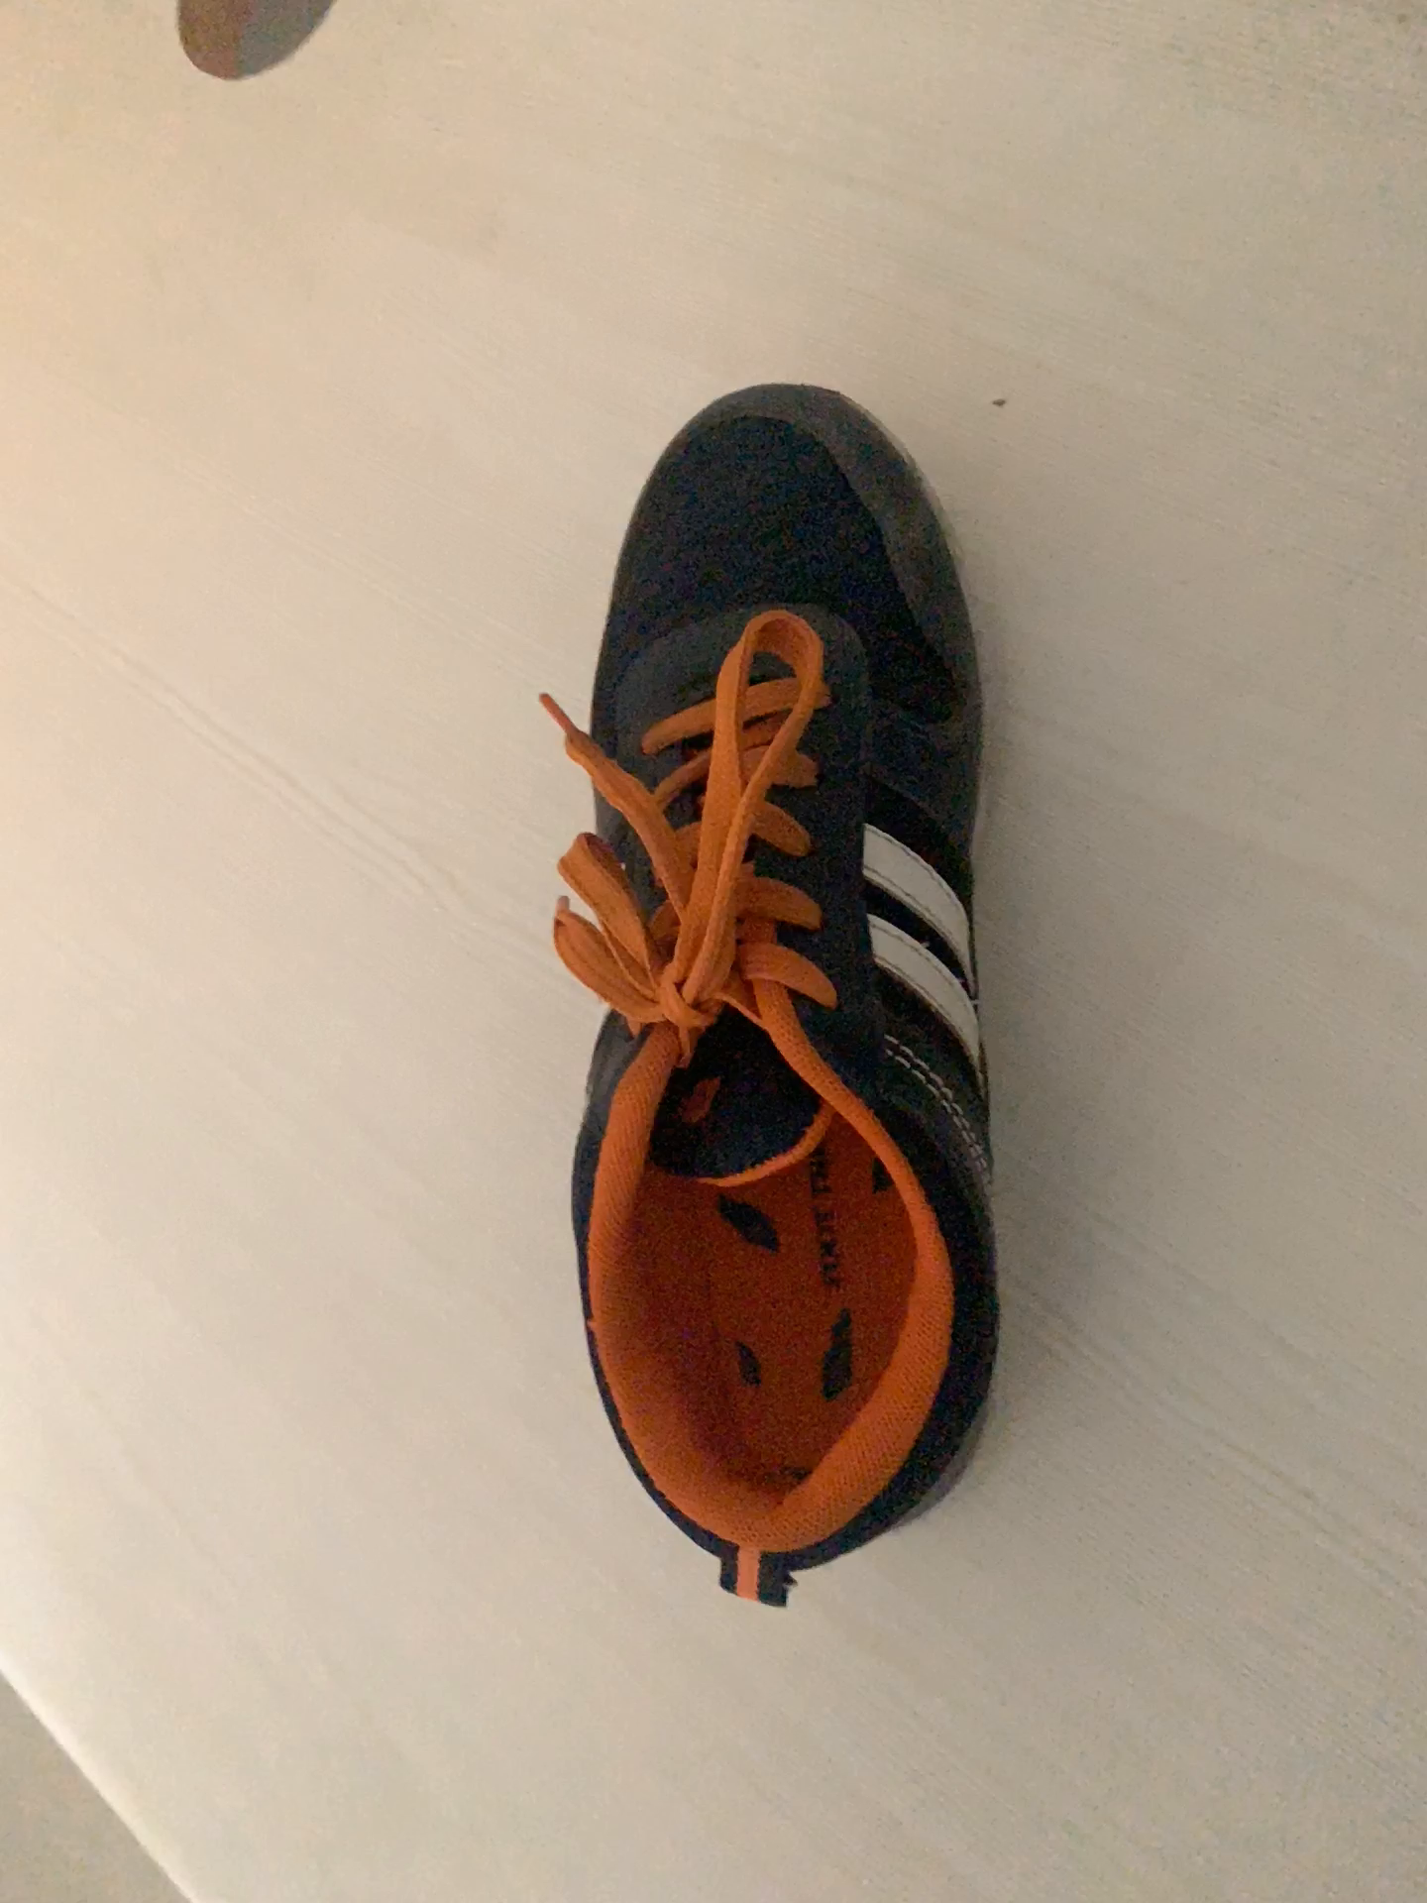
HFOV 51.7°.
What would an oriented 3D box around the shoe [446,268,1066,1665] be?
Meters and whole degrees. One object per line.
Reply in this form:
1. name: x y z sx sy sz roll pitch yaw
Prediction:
1. shoe: 0.008 0.003 0.316 0.100 0.080 0.250 -6 79 23
